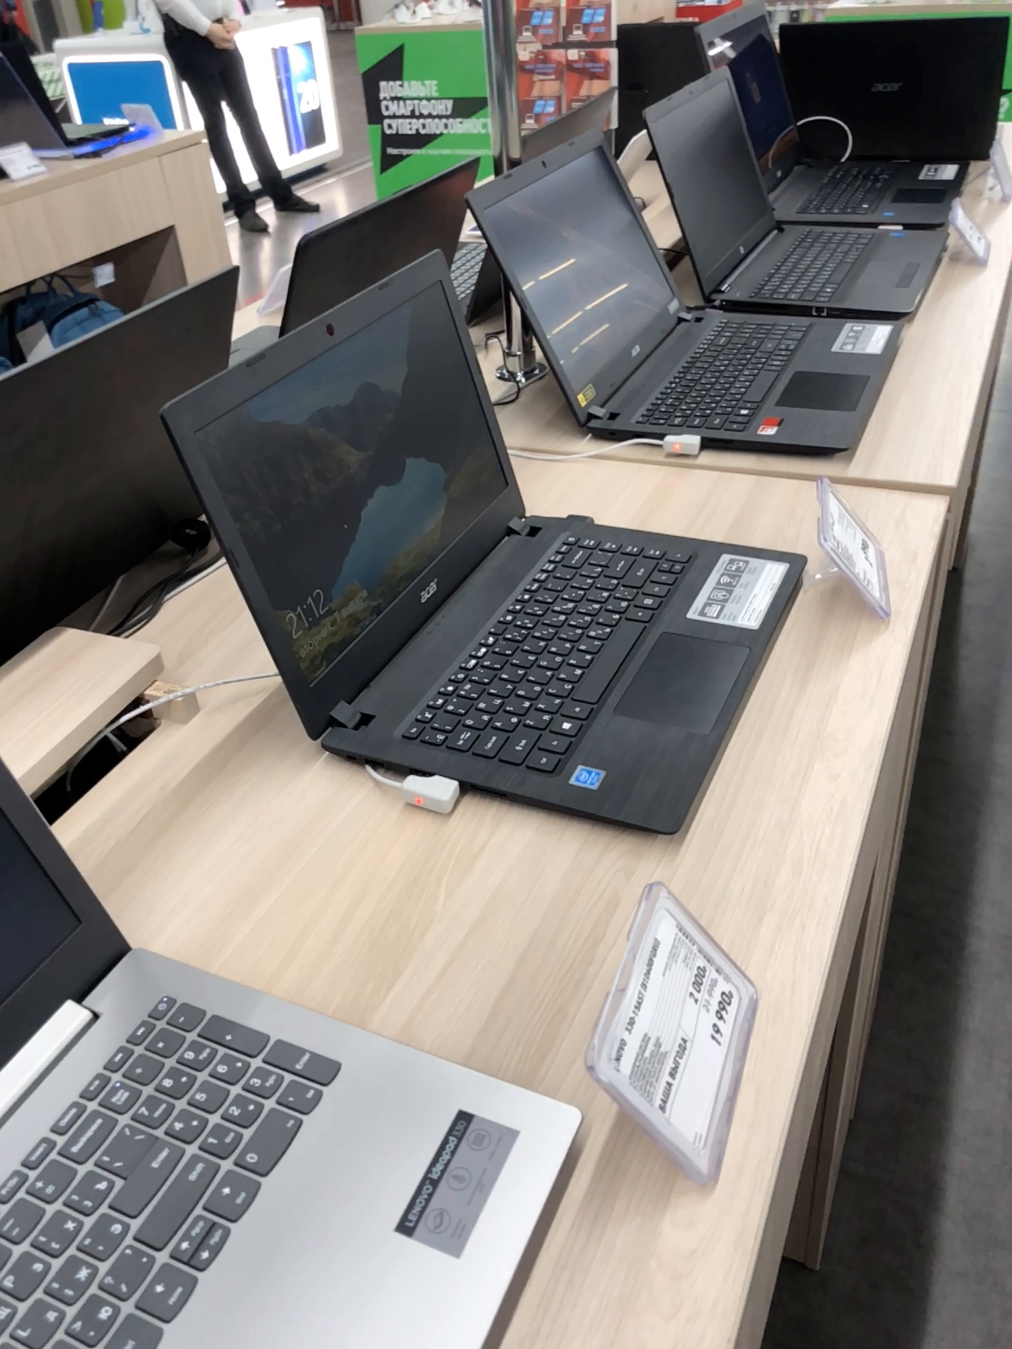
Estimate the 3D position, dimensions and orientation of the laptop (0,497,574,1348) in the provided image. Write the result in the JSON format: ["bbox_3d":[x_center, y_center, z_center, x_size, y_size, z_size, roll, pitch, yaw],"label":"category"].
[{"bbox_3d":[-0.201,0.157,0.348,0.338,0.236,0.364,12,38,23],"label":"laptop"}]

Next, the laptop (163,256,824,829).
[{"bbox_3d":[0.022,-0.122,0.761,0.301,0.223,0.344,11,37,22],"label":"laptop"}]

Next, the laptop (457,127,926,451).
[{"bbox_3d":[0.213,-0.434,1.187,0.376,0.216,0.381,11,37,21],"label":"laptop"}]
